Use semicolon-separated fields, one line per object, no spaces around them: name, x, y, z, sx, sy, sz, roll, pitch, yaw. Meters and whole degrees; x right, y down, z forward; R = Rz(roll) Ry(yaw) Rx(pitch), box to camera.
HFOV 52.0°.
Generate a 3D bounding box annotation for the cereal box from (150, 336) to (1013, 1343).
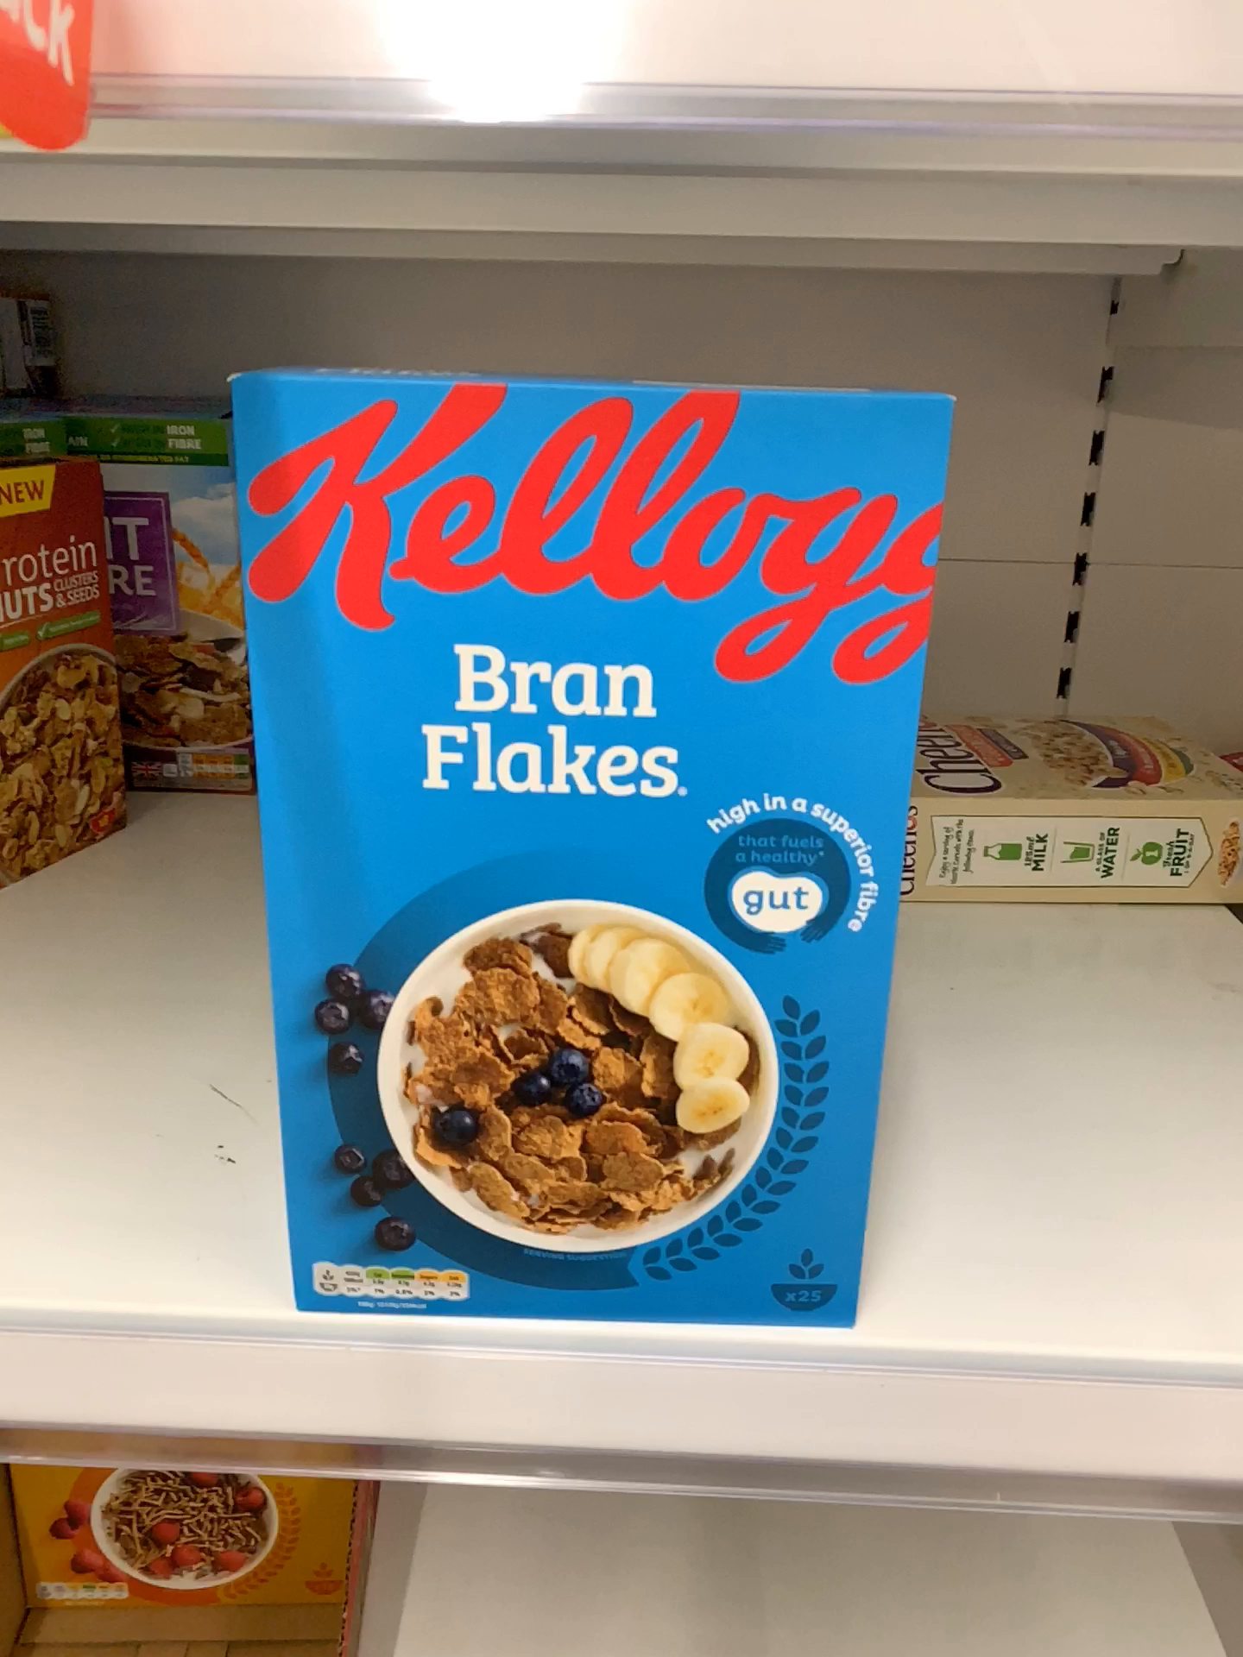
cereal box;-0.012;0.007;0.403;0.210;0.298;0.091;2;20;0
